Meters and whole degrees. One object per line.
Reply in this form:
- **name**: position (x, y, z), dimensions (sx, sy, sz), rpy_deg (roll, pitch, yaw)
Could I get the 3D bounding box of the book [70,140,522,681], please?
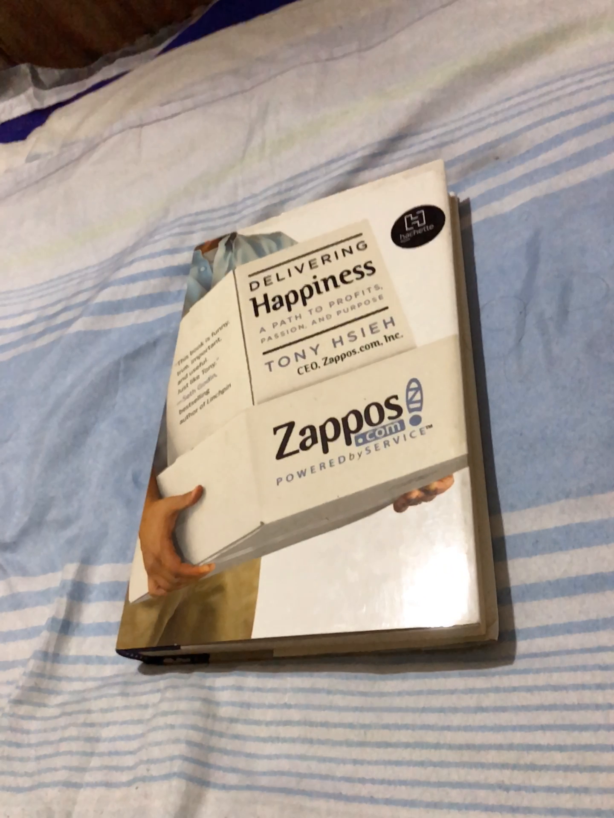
- **book**: position (-0.002, -0.004, 0.328), dimensions (0.171, 0.050, 0.240), rpy_deg (-12, 54, 24)
